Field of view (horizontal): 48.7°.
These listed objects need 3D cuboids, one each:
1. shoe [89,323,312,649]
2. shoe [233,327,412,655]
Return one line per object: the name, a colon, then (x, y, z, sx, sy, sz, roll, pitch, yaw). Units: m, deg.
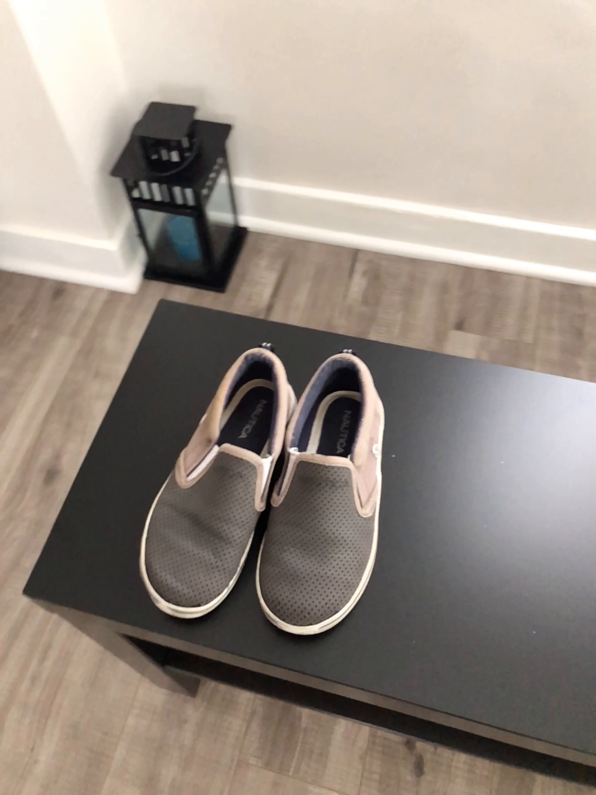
shoe: (-0.053, 0.053, 0.438, 0.077, 0.070, 0.190, 12, 61, 10)
shoe: (0.022, 0.056, 0.431, 0.077, 0.070, 0.190, 8, 60, 7)
